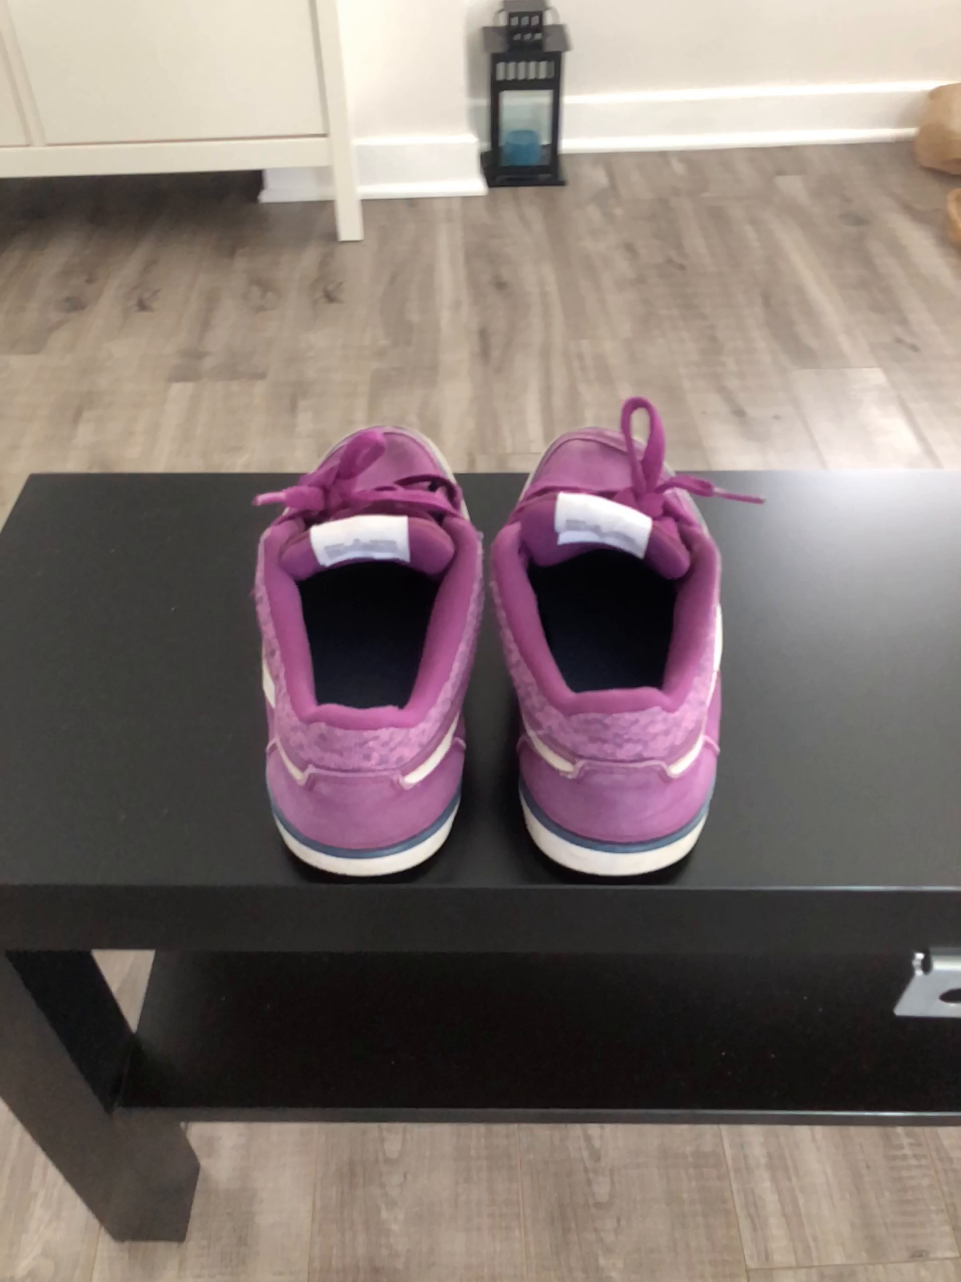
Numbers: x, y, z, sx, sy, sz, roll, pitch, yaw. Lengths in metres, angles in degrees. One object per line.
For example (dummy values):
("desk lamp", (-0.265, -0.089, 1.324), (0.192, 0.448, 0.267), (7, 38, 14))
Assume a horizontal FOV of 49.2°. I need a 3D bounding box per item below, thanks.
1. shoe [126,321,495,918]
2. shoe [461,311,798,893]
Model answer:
("shoe", (-0.050, -0.025, 0.437), (0.100, 0.100, 0.251), (2, 45, 3))
("shoe", (0.051, -0.030, 0.433), (0.100, 0.100, 0.241), (2, 45, 3))
